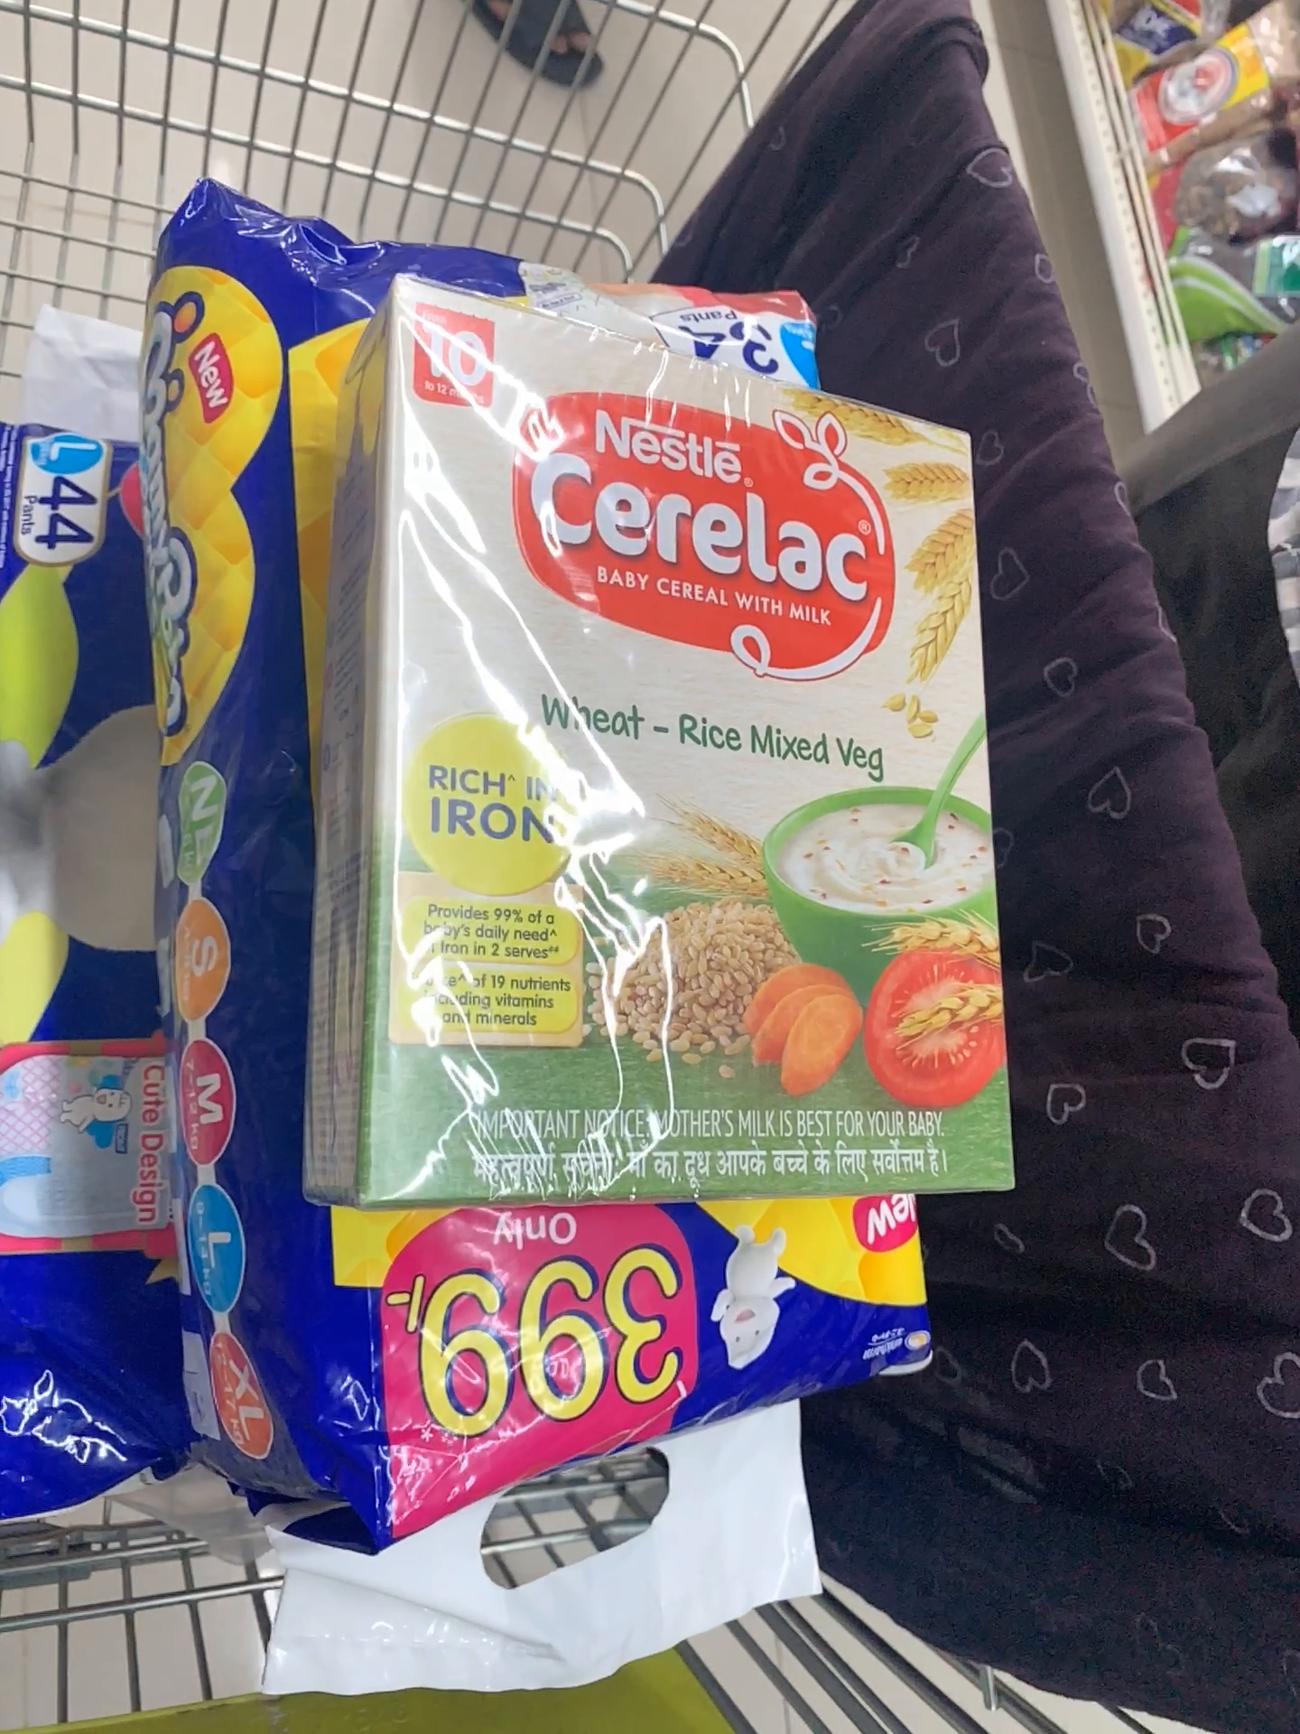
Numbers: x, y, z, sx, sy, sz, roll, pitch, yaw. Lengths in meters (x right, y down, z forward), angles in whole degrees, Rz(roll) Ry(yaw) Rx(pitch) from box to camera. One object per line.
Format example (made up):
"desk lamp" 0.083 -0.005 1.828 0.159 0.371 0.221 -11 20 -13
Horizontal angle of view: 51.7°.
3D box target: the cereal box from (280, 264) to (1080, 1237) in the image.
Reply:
"cereal box" 0.008 -0.017 0.296 0.160 0.050 0.180 5 77 -26
